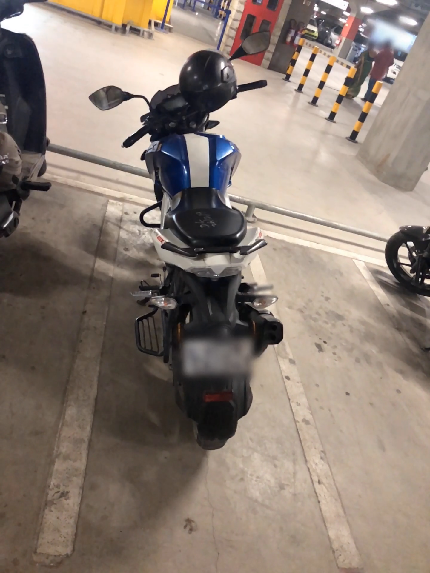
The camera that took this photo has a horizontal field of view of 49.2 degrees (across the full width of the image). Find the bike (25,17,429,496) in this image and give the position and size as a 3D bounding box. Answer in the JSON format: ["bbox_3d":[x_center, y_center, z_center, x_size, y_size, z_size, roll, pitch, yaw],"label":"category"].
[{"bbox_3d":[-0.256,-0.325,2.109,0.807,1.162,1.993,9,32,-20],"label":"bike"}]
